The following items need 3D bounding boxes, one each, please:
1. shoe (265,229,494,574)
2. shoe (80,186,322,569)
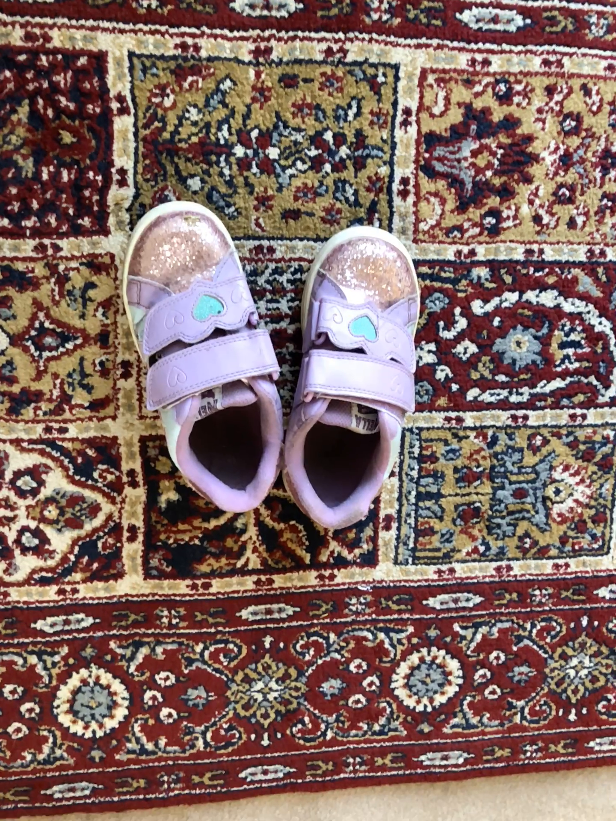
[{"bbox_3d":[0.038,-0.008,0.448,0.100,0.090,0.200,7,102,-9],"label":"shoe"},{"bbox_3d":[-0.062,-0.023,0.434,0.090,0.090,0.208,-13,104,-4],"label":"shoe"}]
